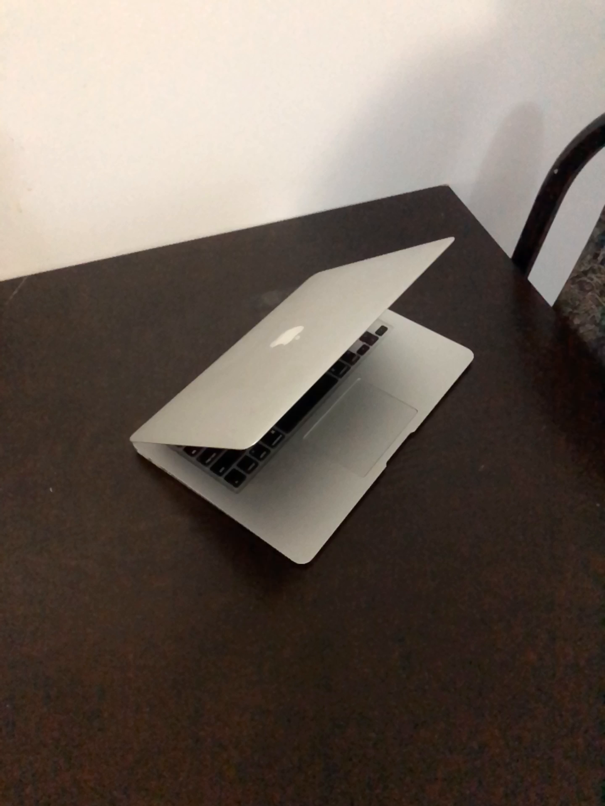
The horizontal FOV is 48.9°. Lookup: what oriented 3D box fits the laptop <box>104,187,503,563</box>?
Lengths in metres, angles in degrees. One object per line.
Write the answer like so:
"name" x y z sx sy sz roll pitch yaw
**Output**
"laptop" 0.014 -0.051 0.681 0.226 0.131 0.331 29 56 24
